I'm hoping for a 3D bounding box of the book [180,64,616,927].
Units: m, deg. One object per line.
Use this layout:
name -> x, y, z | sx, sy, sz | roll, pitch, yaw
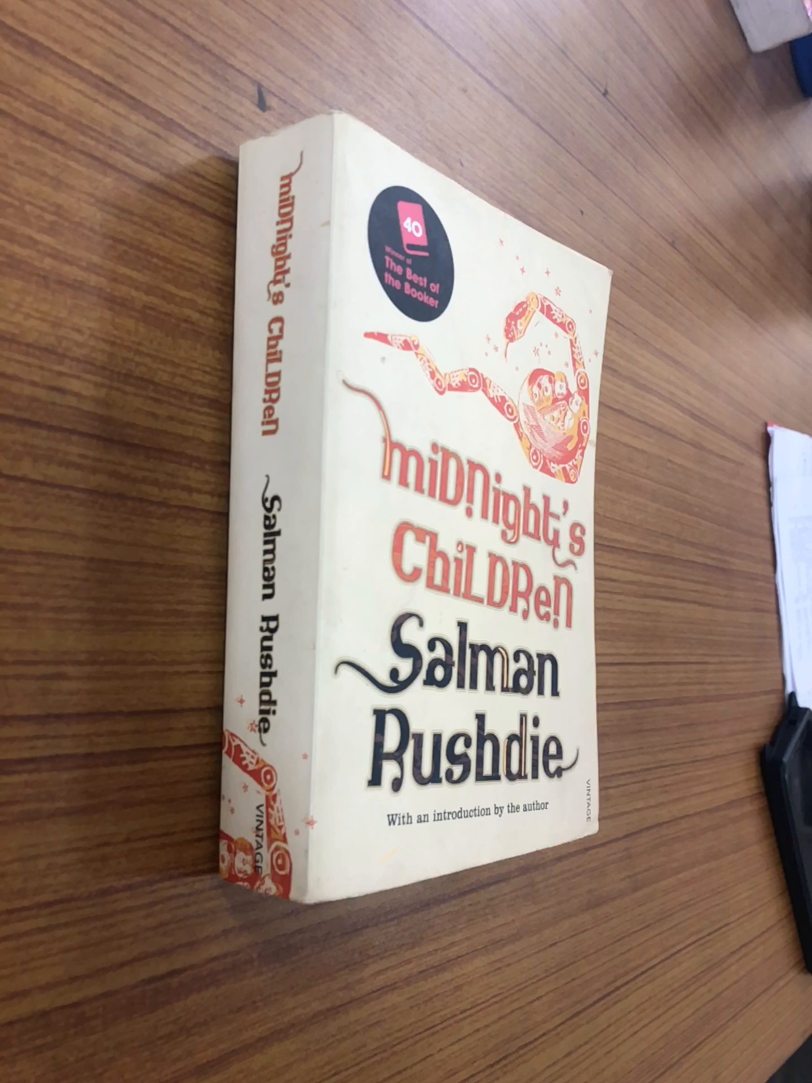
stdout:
book -> 0.008, -0.008, 0.272 | 0.141, 0.040, 0.200 | 8, 80, -47
